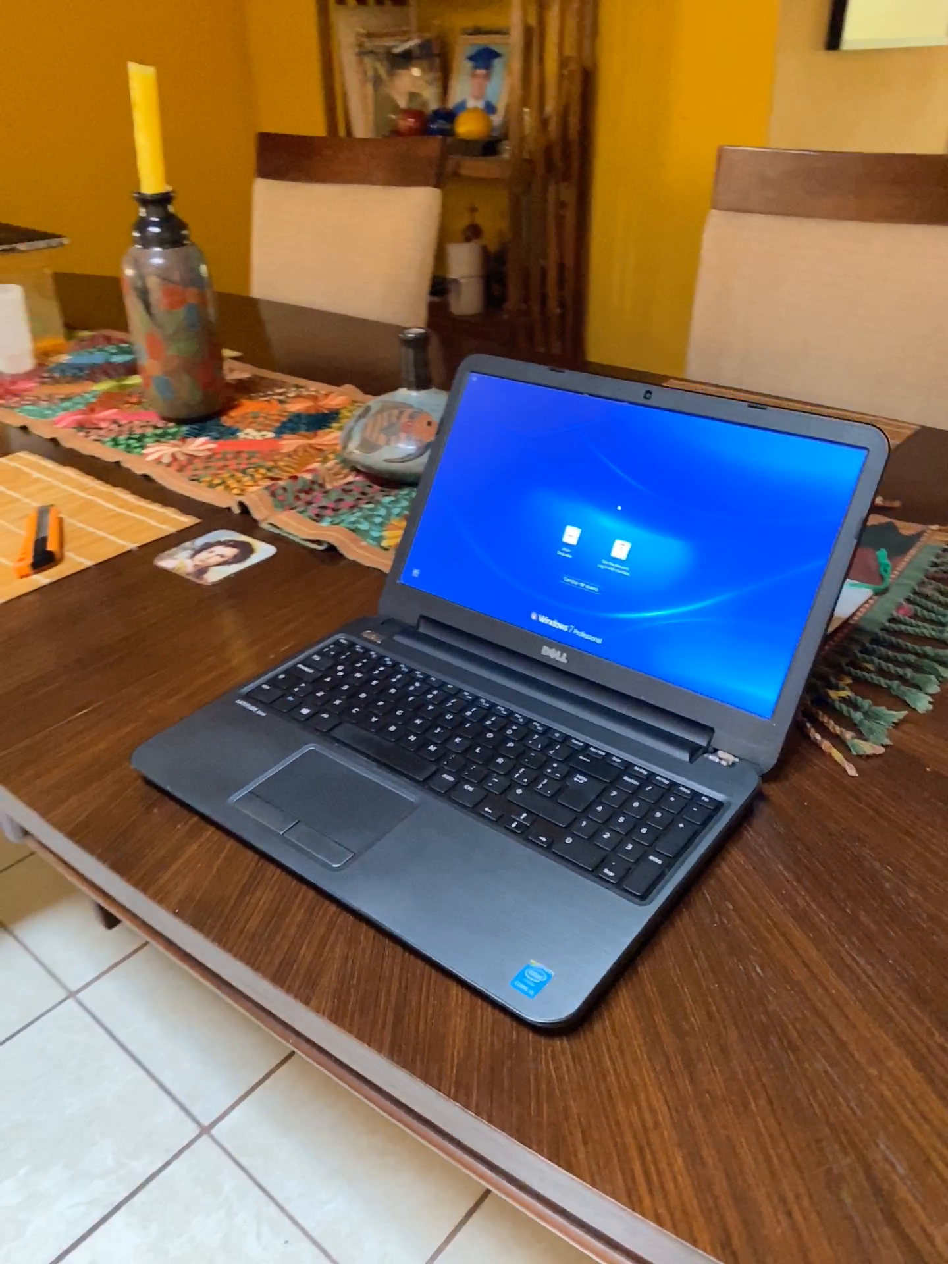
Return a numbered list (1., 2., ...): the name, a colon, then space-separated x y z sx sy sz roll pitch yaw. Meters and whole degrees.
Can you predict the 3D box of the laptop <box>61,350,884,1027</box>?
1. laptop: 0.016 -0.024 0.673 0.368 0.194 0.397 21 38 32
